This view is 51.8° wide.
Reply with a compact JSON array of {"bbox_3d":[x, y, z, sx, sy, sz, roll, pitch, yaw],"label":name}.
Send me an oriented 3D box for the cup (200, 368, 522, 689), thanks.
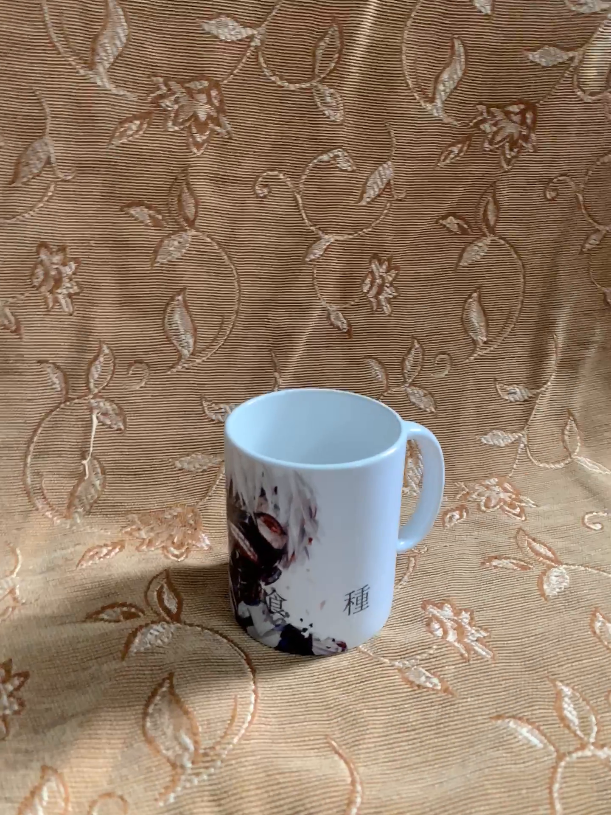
[{"bbox_3d":[0.020,0.049,0.299,0.120,0.101,0.080,-7,25,-19],"label":"cup"}]
